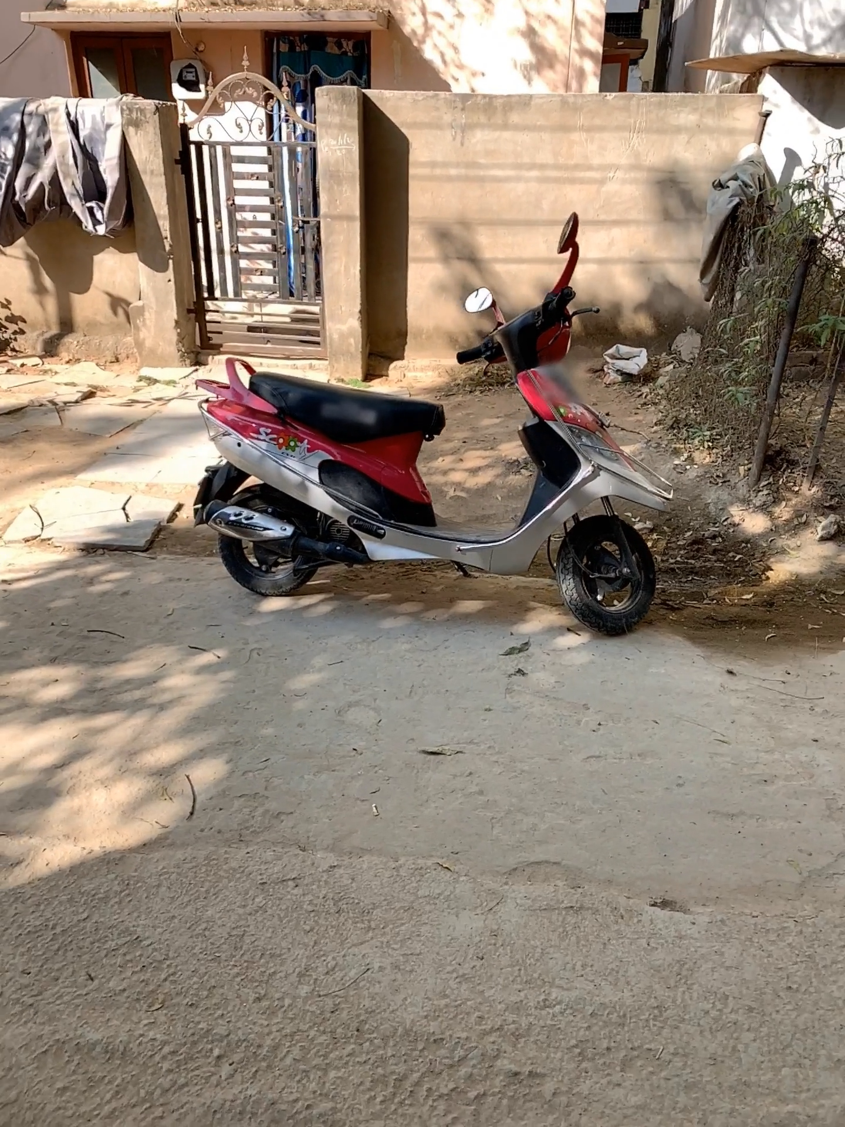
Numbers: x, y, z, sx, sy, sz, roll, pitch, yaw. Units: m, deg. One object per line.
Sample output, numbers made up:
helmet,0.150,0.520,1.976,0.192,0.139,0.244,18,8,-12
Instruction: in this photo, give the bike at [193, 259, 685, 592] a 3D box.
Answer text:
bike,0.077,-0.491,3.046,1.494,1.037,0.486,2,25,6
